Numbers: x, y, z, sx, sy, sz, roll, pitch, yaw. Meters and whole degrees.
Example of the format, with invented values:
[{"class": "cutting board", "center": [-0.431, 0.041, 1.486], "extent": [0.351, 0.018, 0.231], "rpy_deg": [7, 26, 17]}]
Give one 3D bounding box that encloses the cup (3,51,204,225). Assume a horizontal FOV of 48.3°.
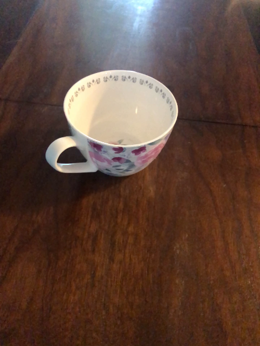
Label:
[{"class": "cup", "center": [-0.024, -0.048, 0.316], "extent": [0.160, 0.070, 0.120], "rpy_deg": [-37, 63, -28]}]
